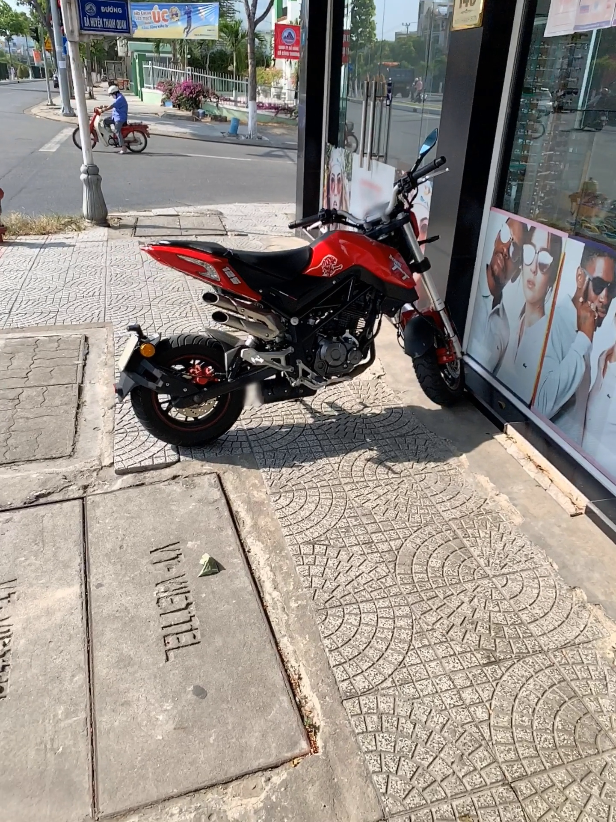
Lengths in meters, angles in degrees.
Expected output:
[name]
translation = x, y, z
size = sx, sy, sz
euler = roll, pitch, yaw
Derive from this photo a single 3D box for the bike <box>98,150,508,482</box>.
[bike]
translation = 0.043, -0.680, 3.327
size = 2.124, 1.216, 0.834
euler = -15, 32, -32
